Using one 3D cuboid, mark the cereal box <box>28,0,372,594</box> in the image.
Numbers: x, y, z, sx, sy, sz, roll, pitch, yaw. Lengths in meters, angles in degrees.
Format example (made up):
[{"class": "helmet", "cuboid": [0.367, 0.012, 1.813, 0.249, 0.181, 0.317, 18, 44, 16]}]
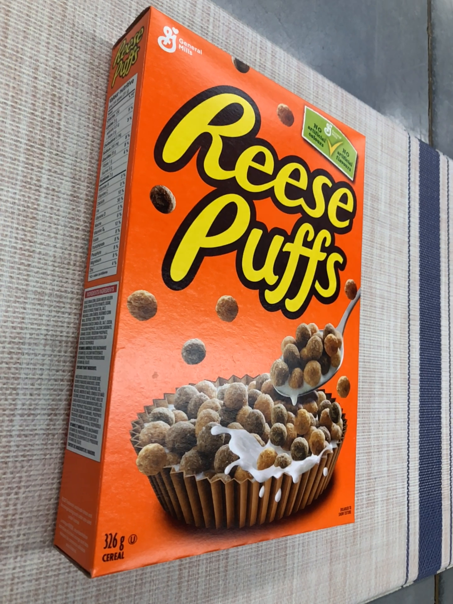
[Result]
[{"class": "cereal box", "cuboid": [0.006, -0.001, 0.314, 0.201, 0.060, 0.280, 12, 79, -42]}]
